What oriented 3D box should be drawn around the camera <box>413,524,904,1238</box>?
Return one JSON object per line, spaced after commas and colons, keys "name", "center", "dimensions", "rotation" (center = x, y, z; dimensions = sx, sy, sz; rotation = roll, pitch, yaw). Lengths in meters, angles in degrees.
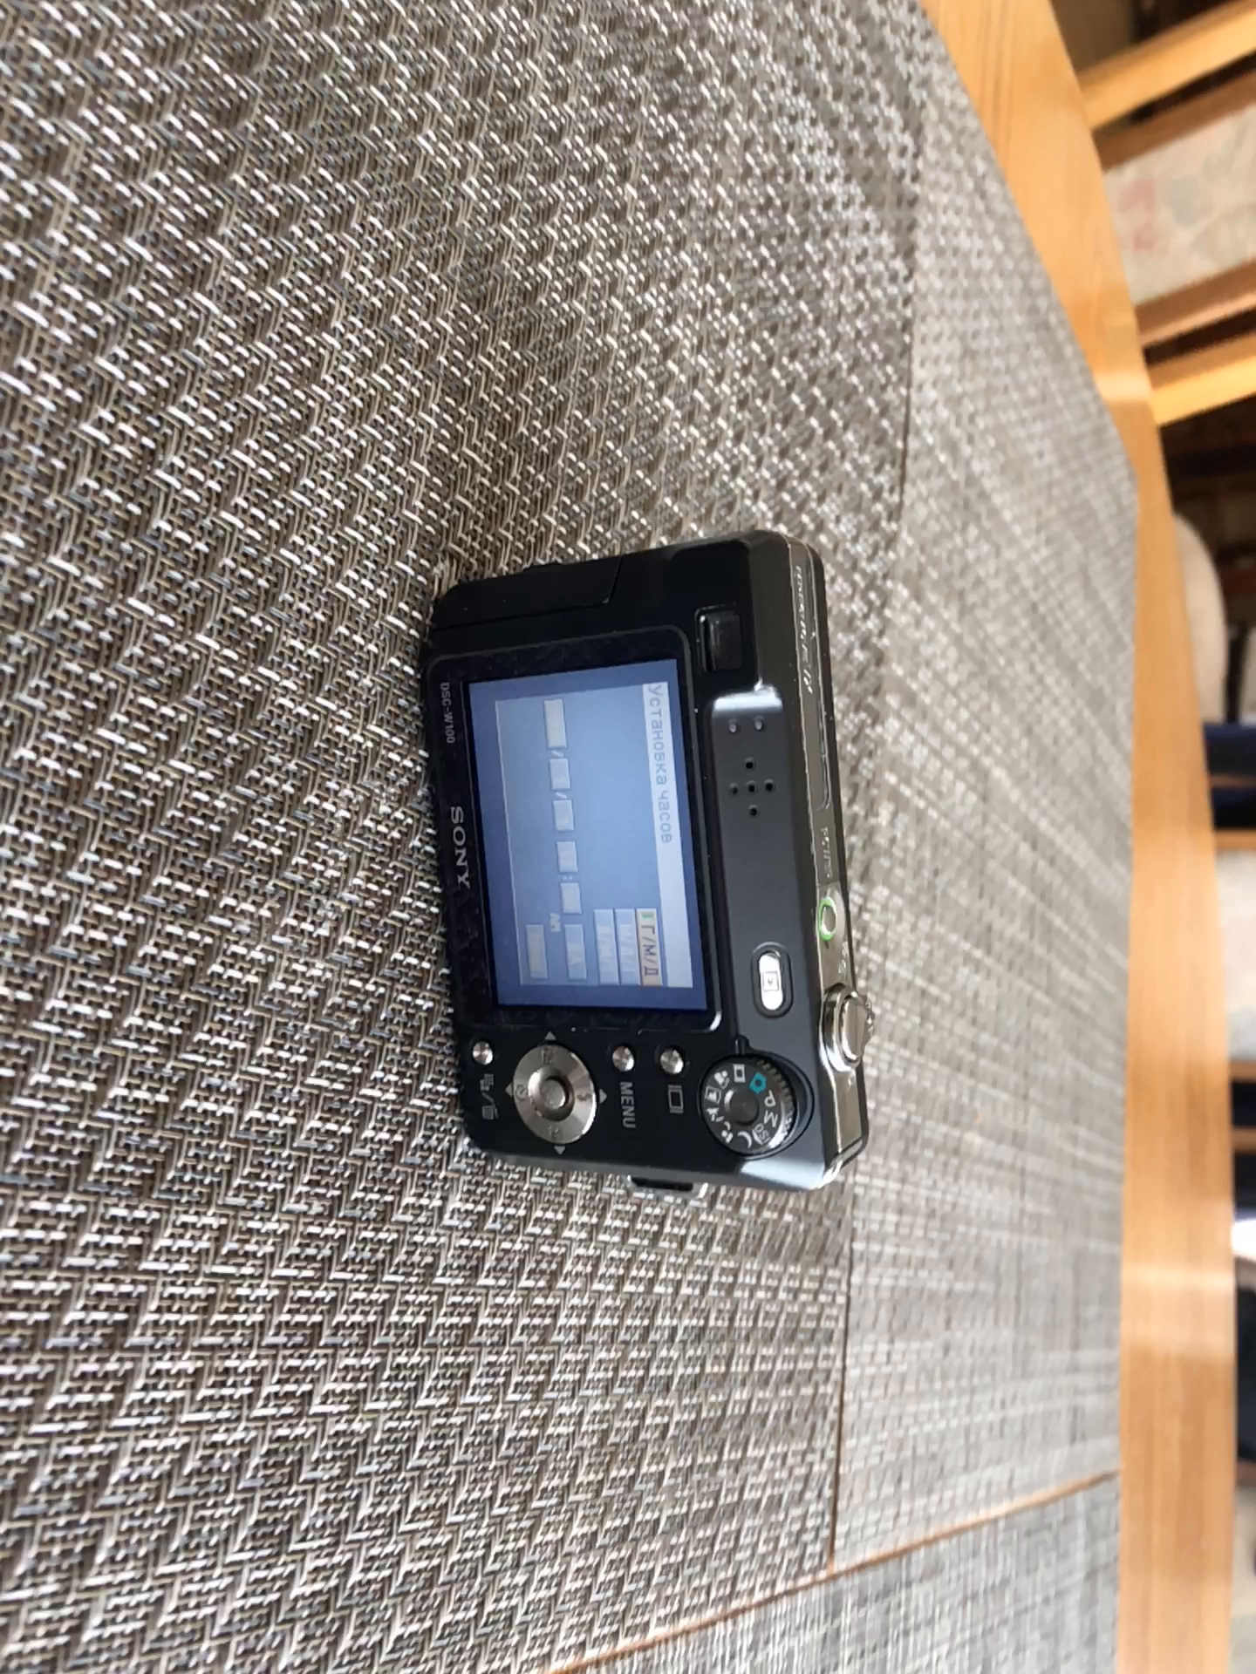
{"name": "camera", "center": [0.006, 0.005, 0.220], "dimensions": [0.049, 0.052, 0.095], "rotation": [-9, 95, -58]}
